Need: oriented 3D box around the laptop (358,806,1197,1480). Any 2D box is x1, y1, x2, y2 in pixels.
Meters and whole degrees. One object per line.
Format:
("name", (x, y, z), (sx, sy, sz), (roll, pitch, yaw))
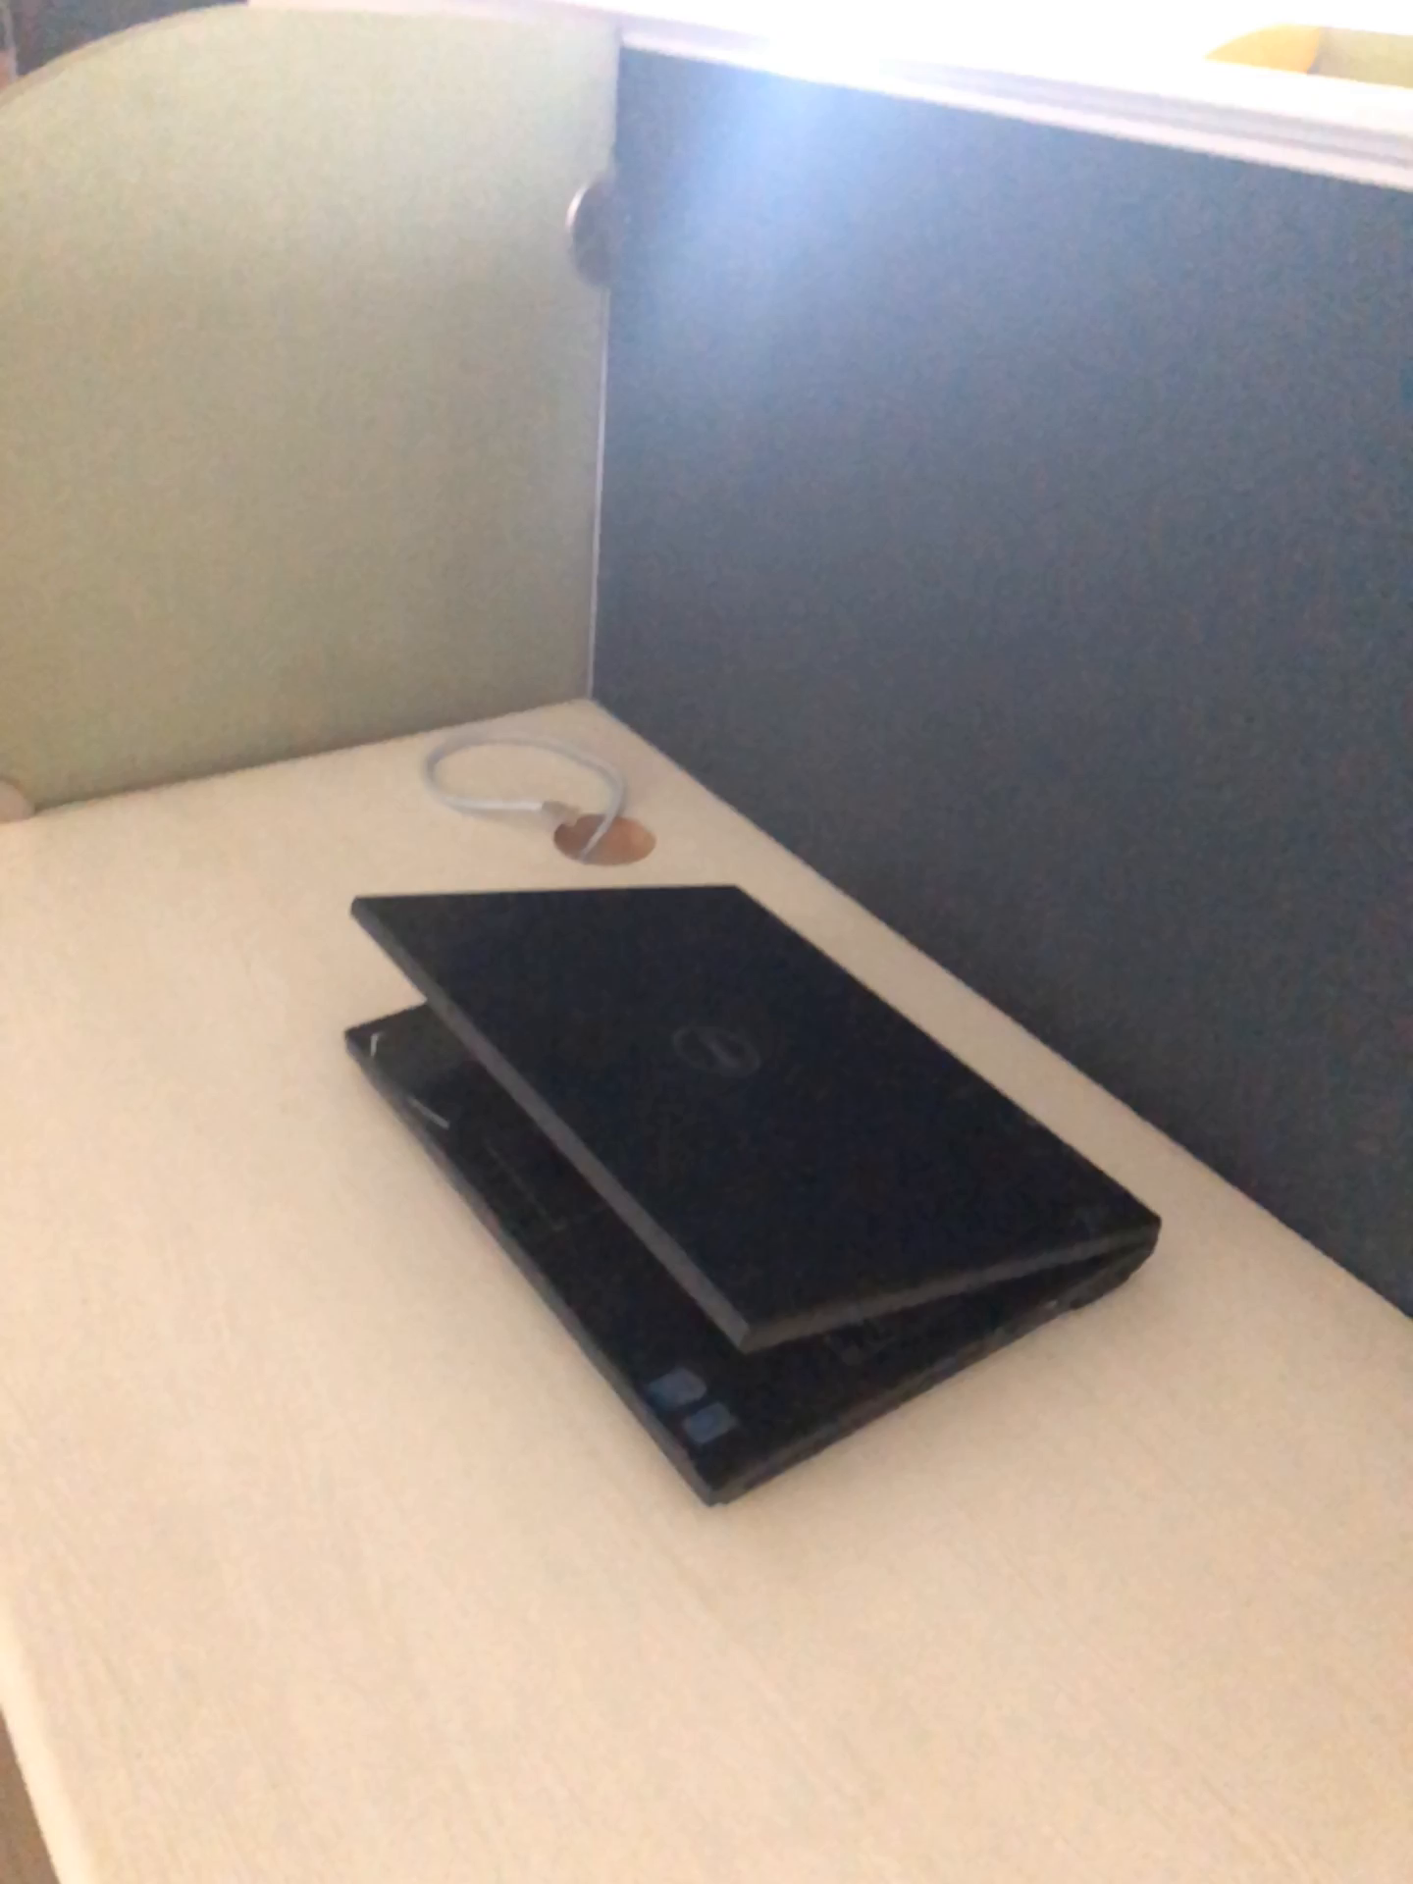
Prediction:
("laptop", (0.017, 0.060, 0.703), (0.230, 0.064, 0.303), (-20, 40, -30))
